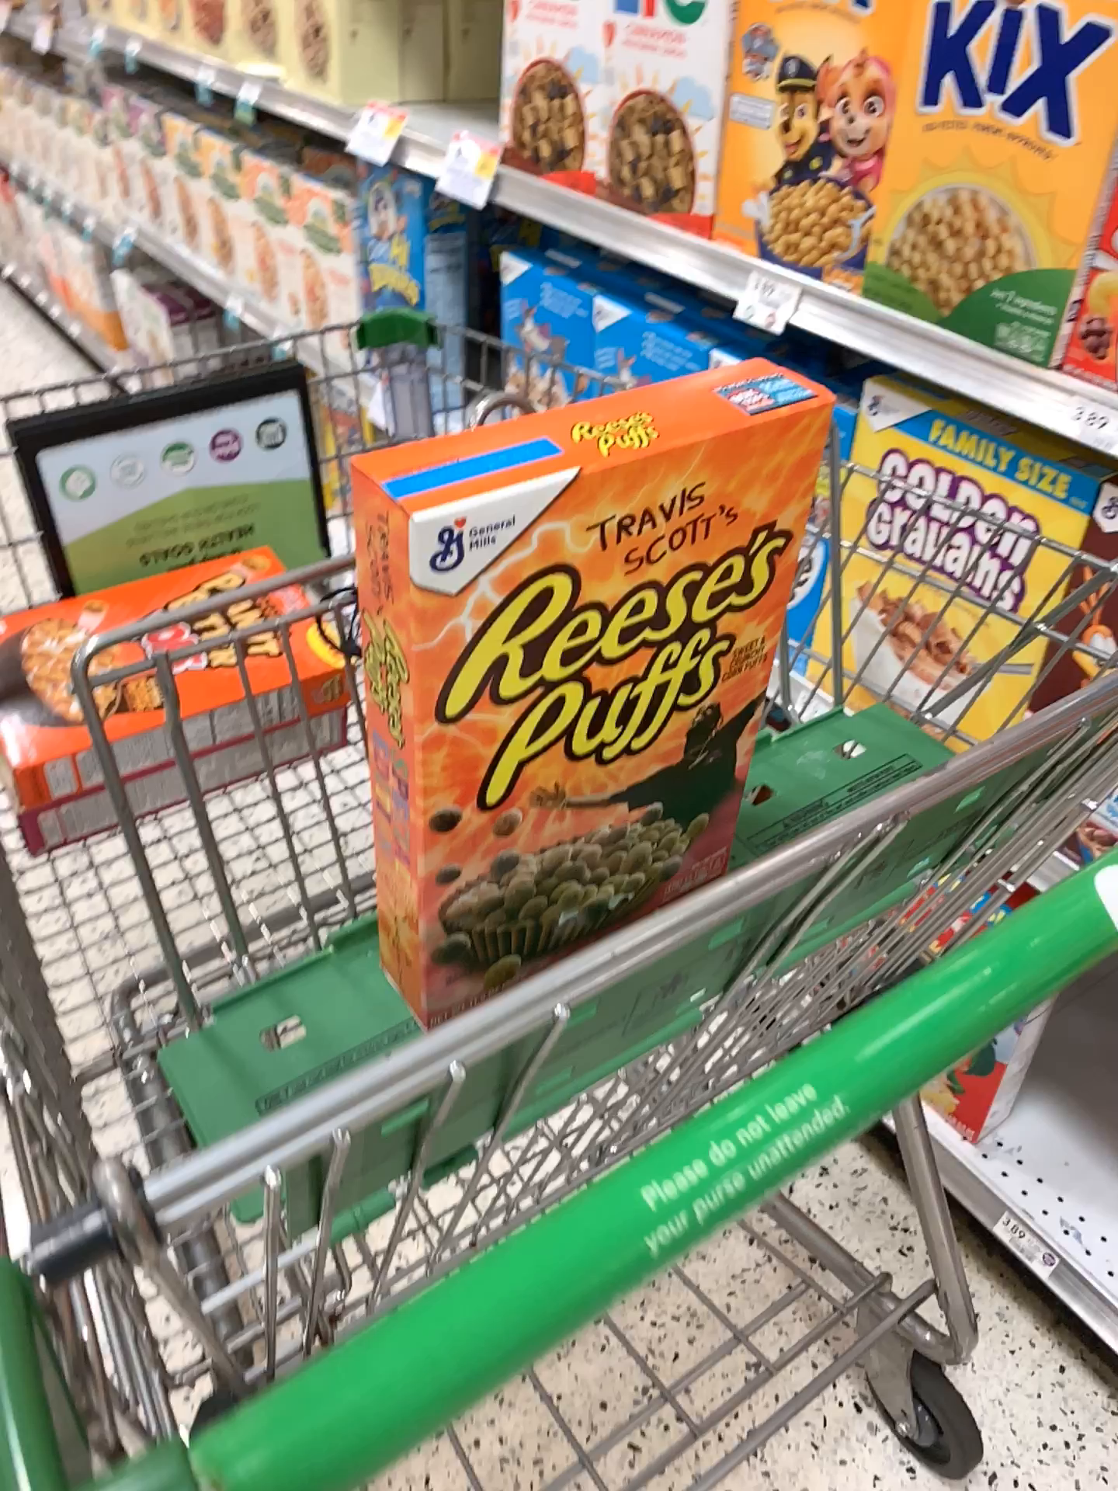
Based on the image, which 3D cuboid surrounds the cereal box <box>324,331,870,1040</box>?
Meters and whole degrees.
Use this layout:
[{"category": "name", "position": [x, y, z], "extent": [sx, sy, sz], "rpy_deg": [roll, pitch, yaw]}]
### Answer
[{"category": "cereal box", "position": [0.015, -0.019, 0.509], "extent": [0.211, 0.277, 0.050], "rpy_deg": [-22, 47, -28]}]
